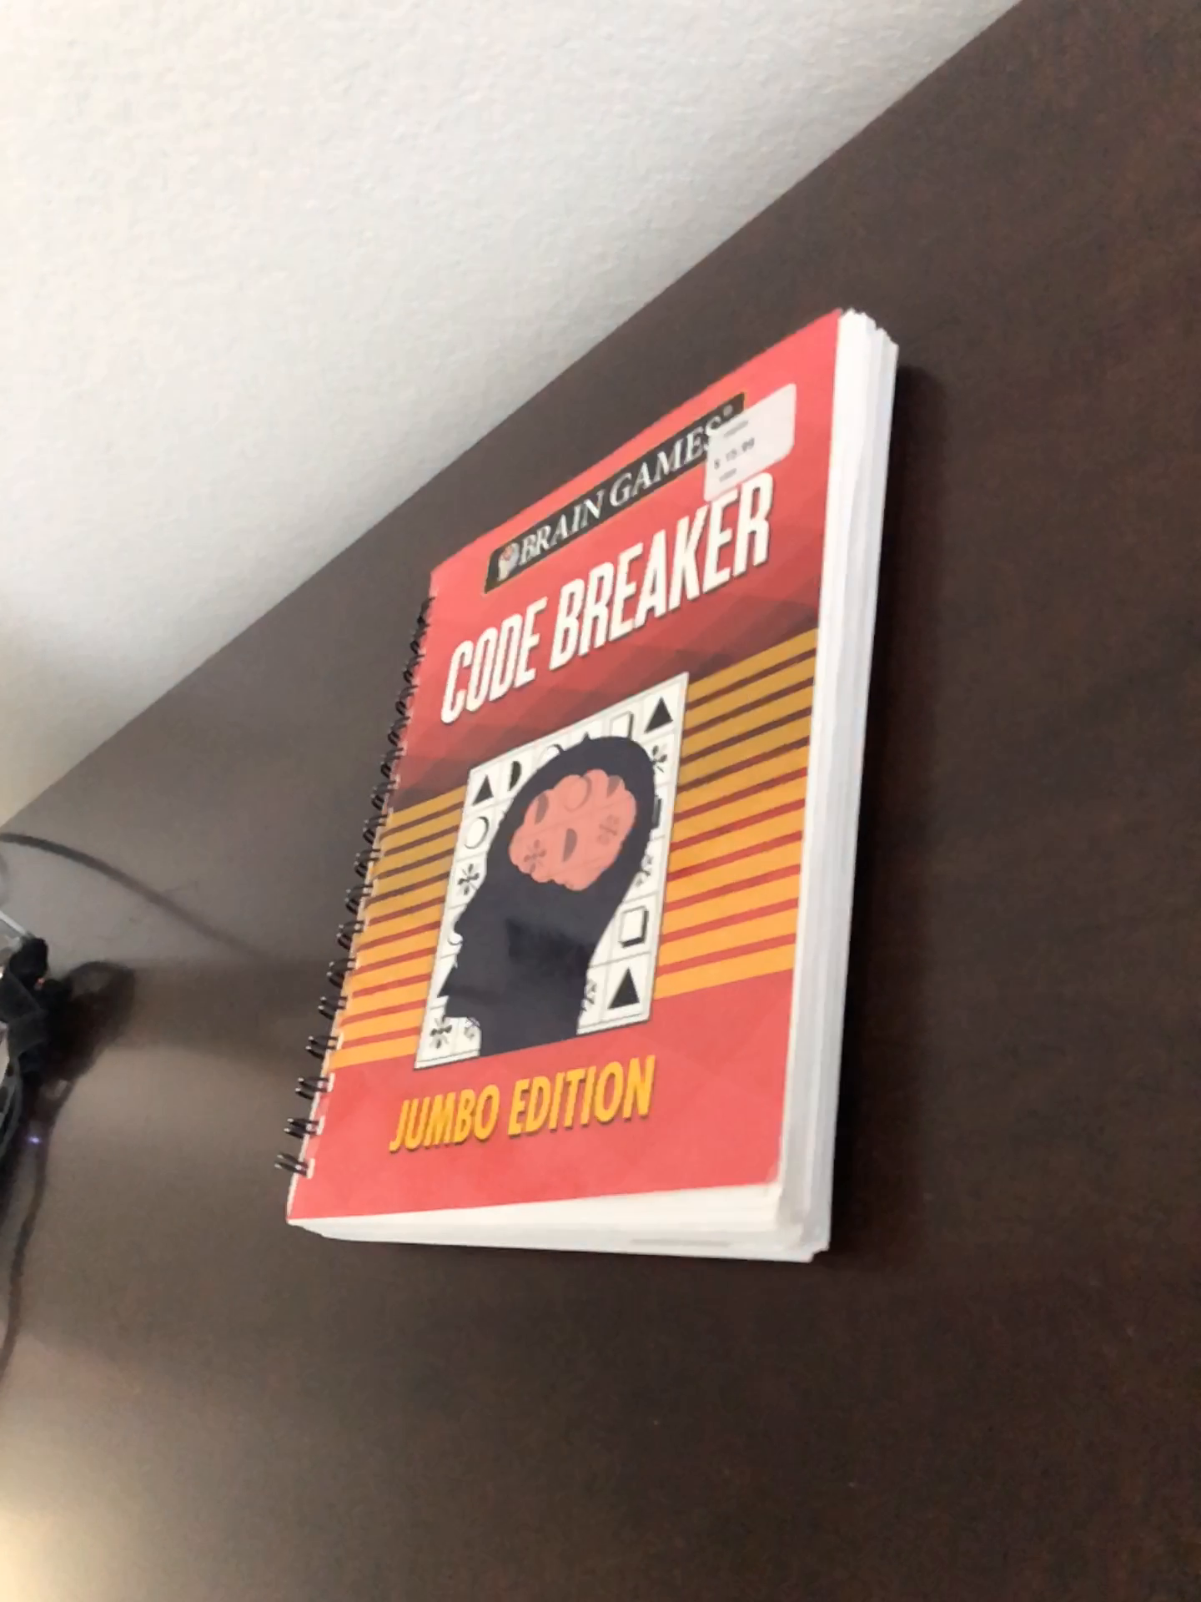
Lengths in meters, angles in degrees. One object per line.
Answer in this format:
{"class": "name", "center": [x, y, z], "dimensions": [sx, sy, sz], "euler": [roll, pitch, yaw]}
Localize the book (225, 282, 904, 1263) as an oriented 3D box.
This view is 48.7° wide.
{"class": "book", "center": [-0.014, 0.003, 0.357], "dimensions": [0.203, 0.030, 0.224], "euler": [-20, 52, 46]}
